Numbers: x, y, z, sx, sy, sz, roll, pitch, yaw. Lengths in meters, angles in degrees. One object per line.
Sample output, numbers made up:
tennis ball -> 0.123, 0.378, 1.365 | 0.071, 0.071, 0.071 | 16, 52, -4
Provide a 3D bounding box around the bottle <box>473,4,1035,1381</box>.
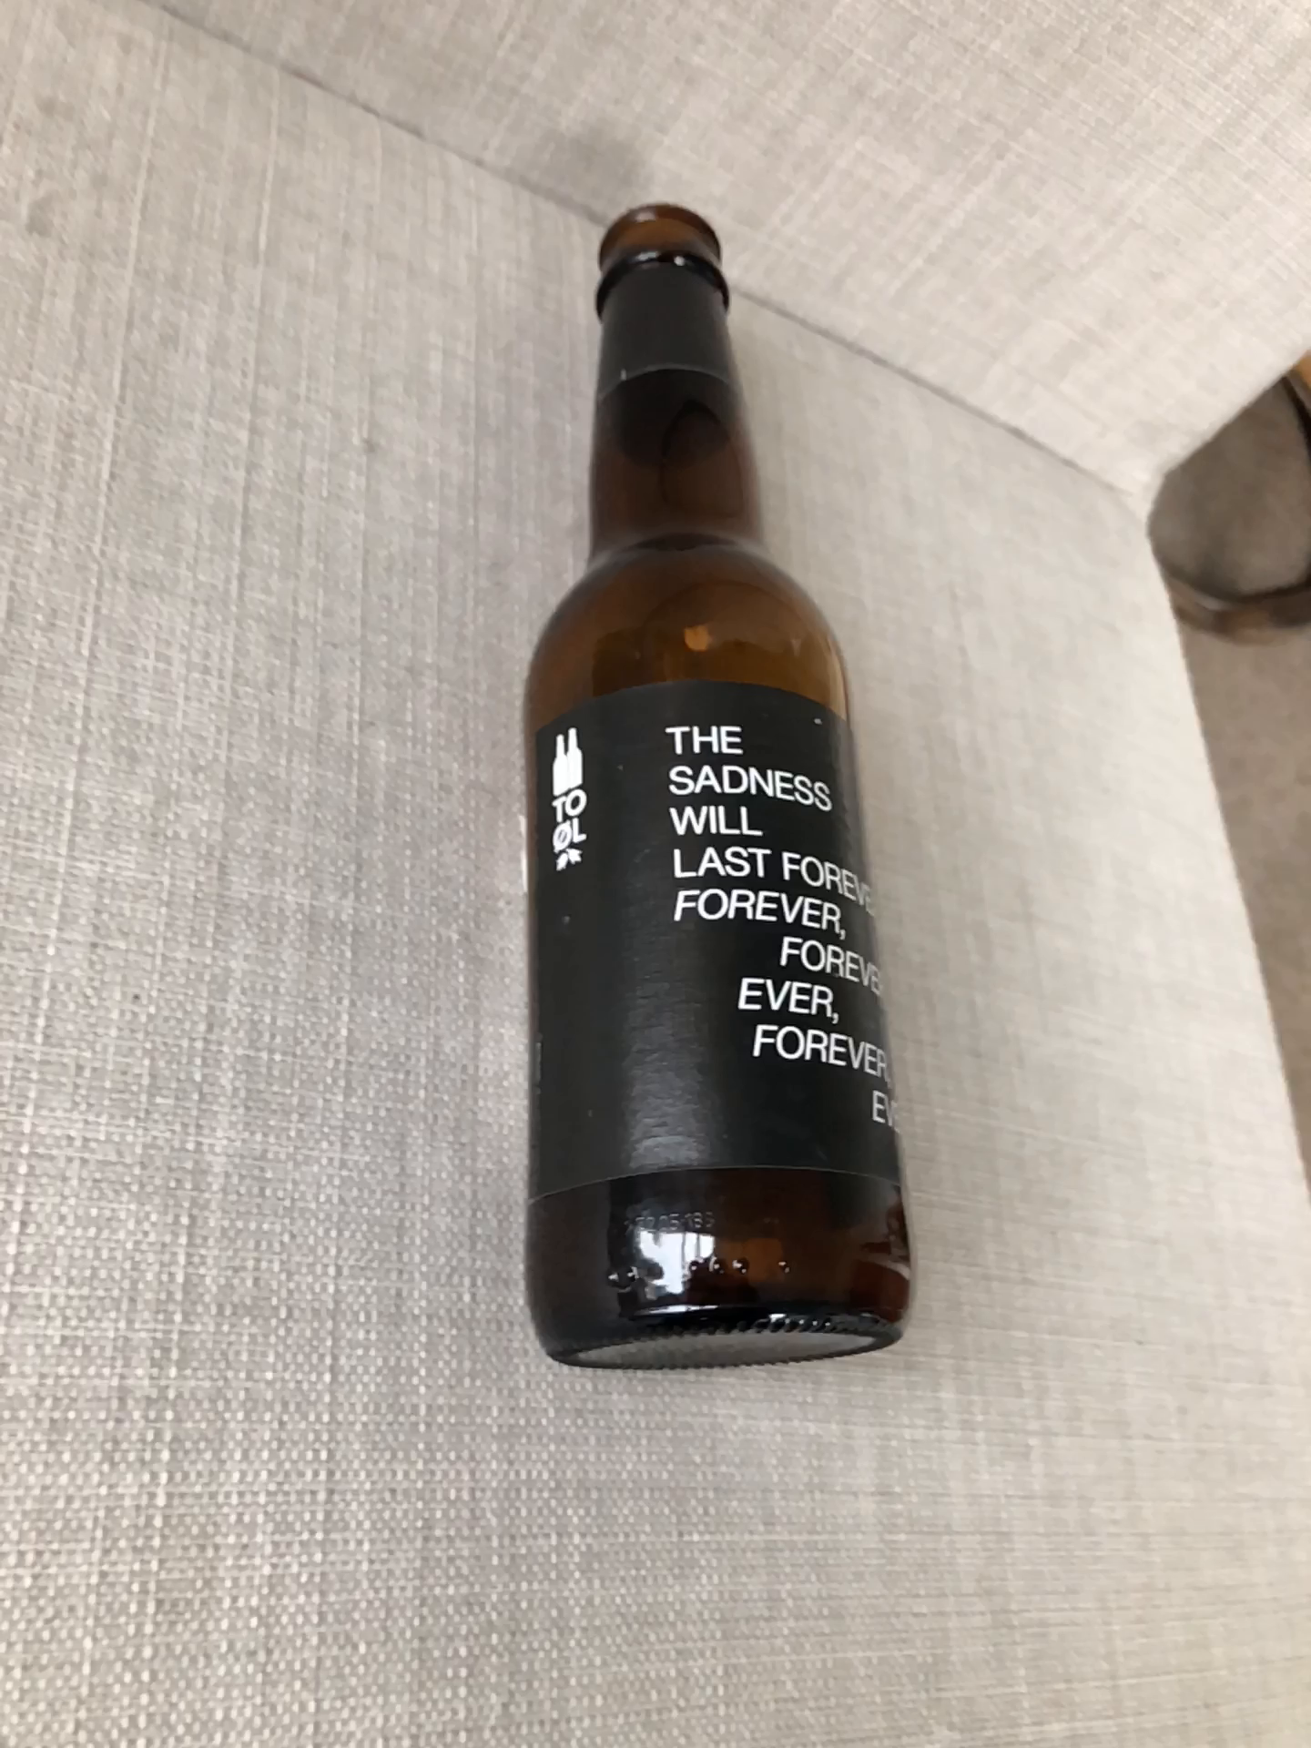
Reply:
bottle -> 0.011, -0.037, 0.266 | 0.060, 0.060, 0.239 | 14, 63, -33
